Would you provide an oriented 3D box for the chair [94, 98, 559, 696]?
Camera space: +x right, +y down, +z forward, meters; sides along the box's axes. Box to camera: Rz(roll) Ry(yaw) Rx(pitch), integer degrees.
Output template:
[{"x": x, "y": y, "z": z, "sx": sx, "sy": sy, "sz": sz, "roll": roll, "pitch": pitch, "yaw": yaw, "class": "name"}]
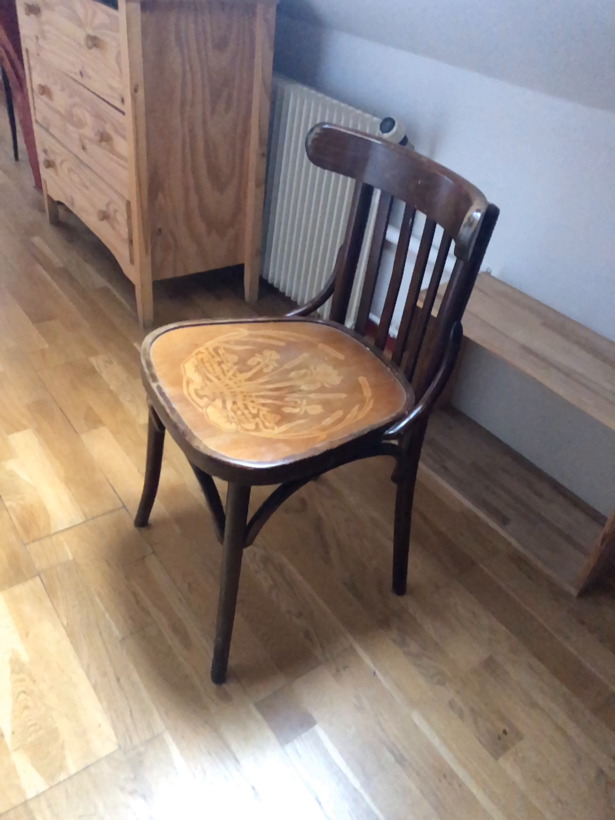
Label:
[{"x": -0.040, "y": -0.031, "z": 1.047, "sx": 0.413, "sy": 0.737, "sz": 0.443, "roll": -14, "pitch": 42, "yaw": -28, "class": "chair"}]
